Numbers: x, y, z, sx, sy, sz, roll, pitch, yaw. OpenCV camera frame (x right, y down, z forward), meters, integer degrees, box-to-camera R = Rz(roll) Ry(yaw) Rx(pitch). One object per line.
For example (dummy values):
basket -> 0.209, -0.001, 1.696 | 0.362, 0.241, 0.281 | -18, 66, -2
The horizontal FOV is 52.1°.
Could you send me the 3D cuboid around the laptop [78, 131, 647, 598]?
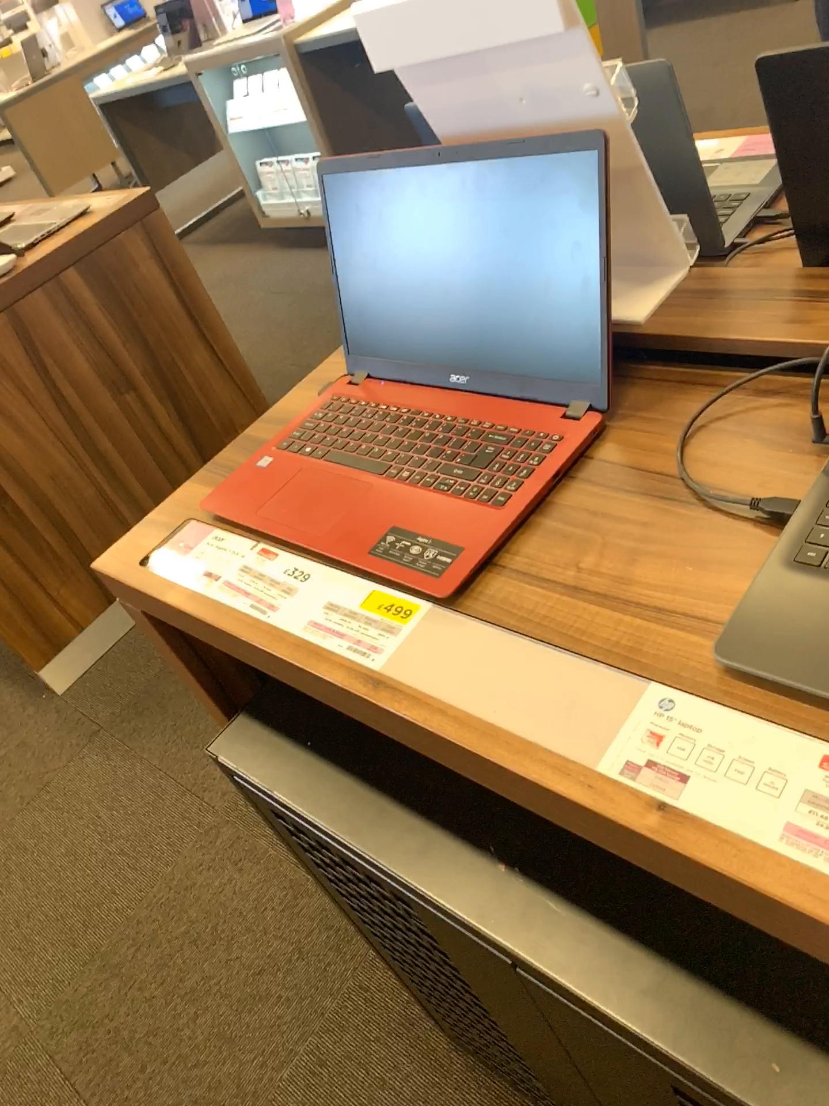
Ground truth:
laptop -> -0.043, -0.190, 0.782 | 0.358, 0.213, 0.322 | 18, 55, 42
